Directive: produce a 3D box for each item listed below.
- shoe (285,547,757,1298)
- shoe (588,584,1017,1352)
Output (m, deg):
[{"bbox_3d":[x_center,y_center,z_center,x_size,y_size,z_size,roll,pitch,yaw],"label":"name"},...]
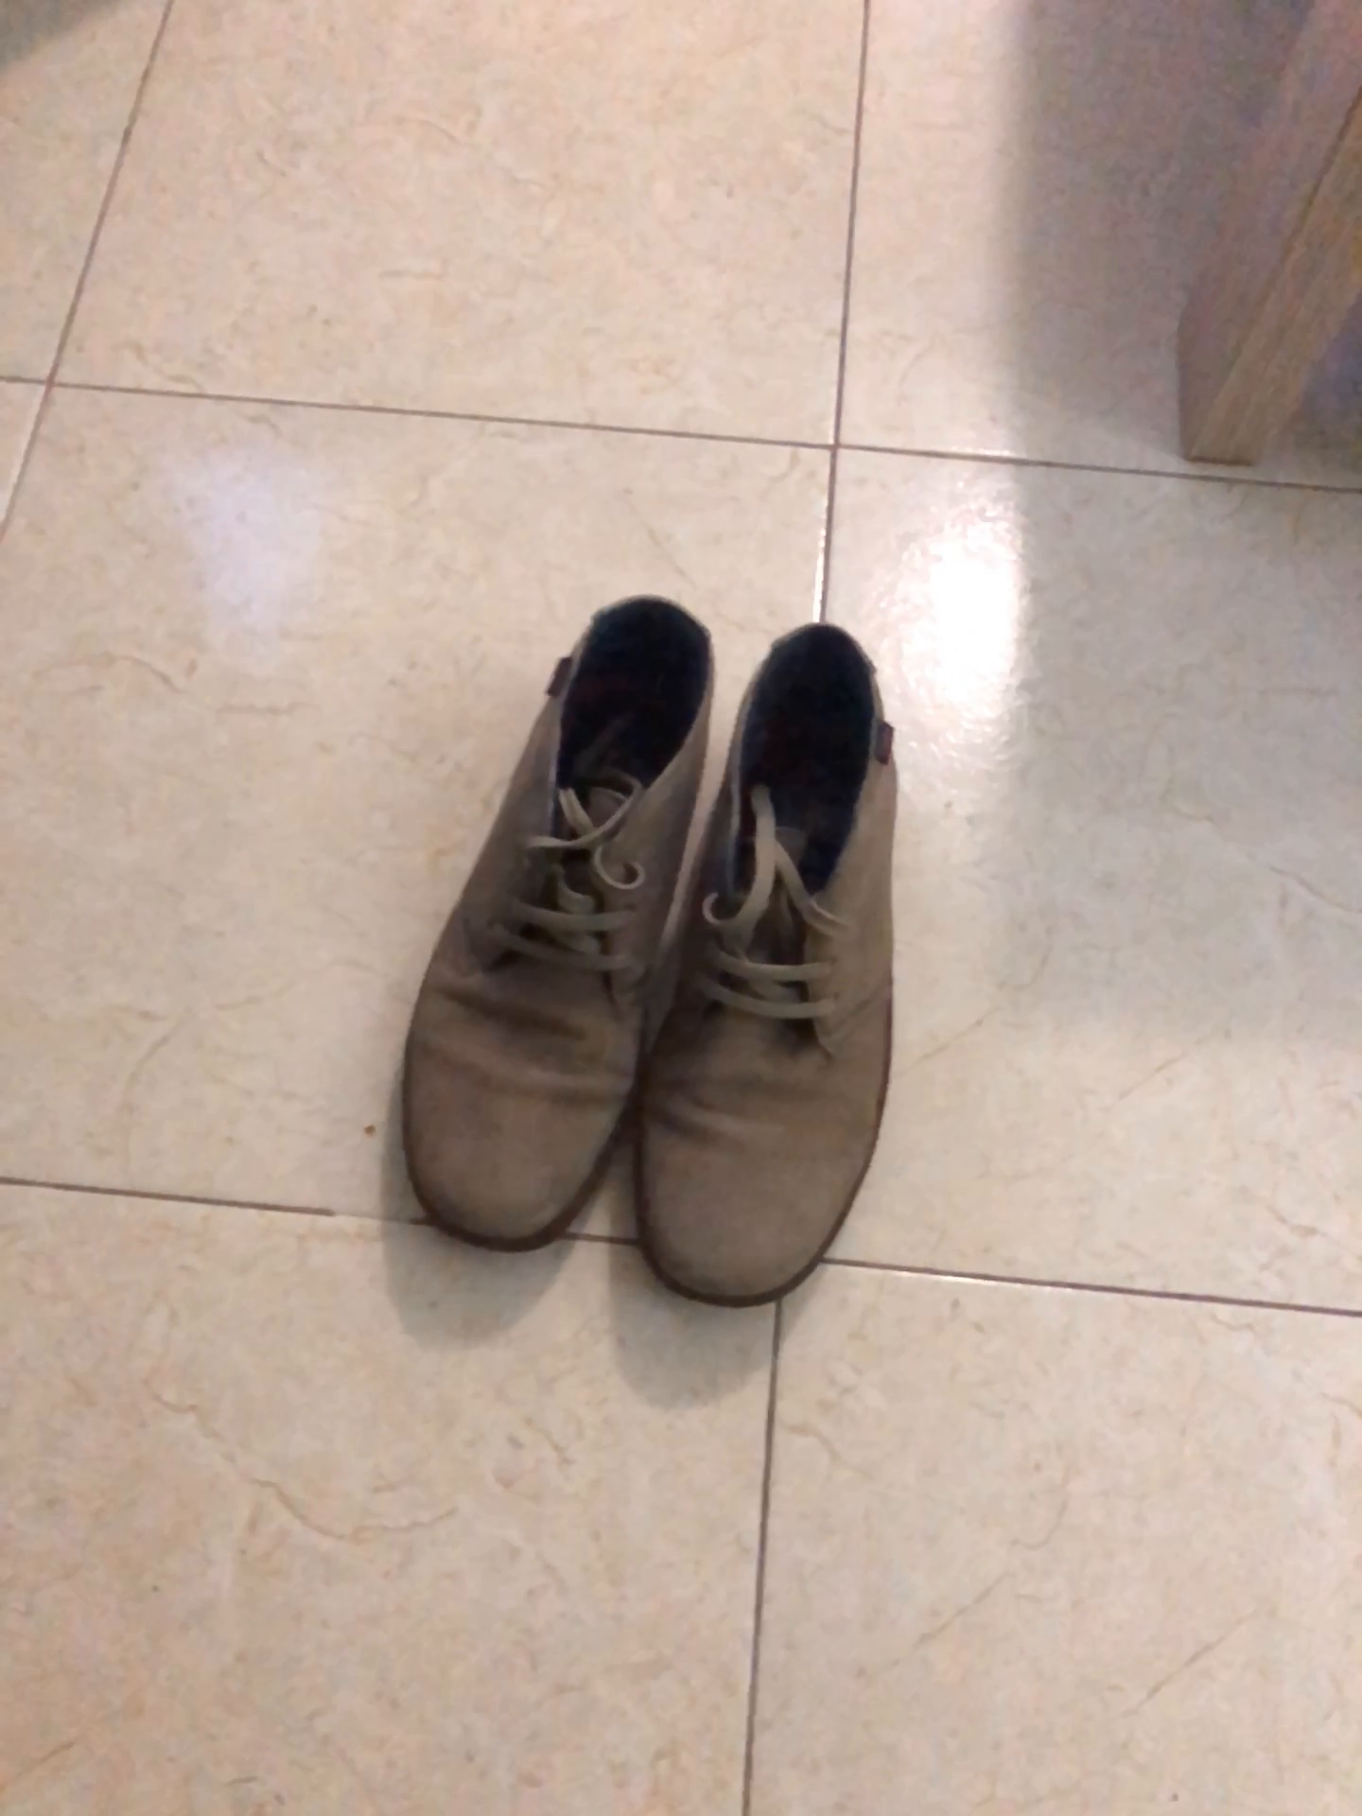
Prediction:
[{"bbox_3d":[-0.056,0.006,0.647,0.110,0.120,0.280,13,68,5],"label":"shoe"},{"bbox_3d":[0.053,0.025,0.633,0.120,0.120,0.280,11,68,4],"label":"shoe"}]
